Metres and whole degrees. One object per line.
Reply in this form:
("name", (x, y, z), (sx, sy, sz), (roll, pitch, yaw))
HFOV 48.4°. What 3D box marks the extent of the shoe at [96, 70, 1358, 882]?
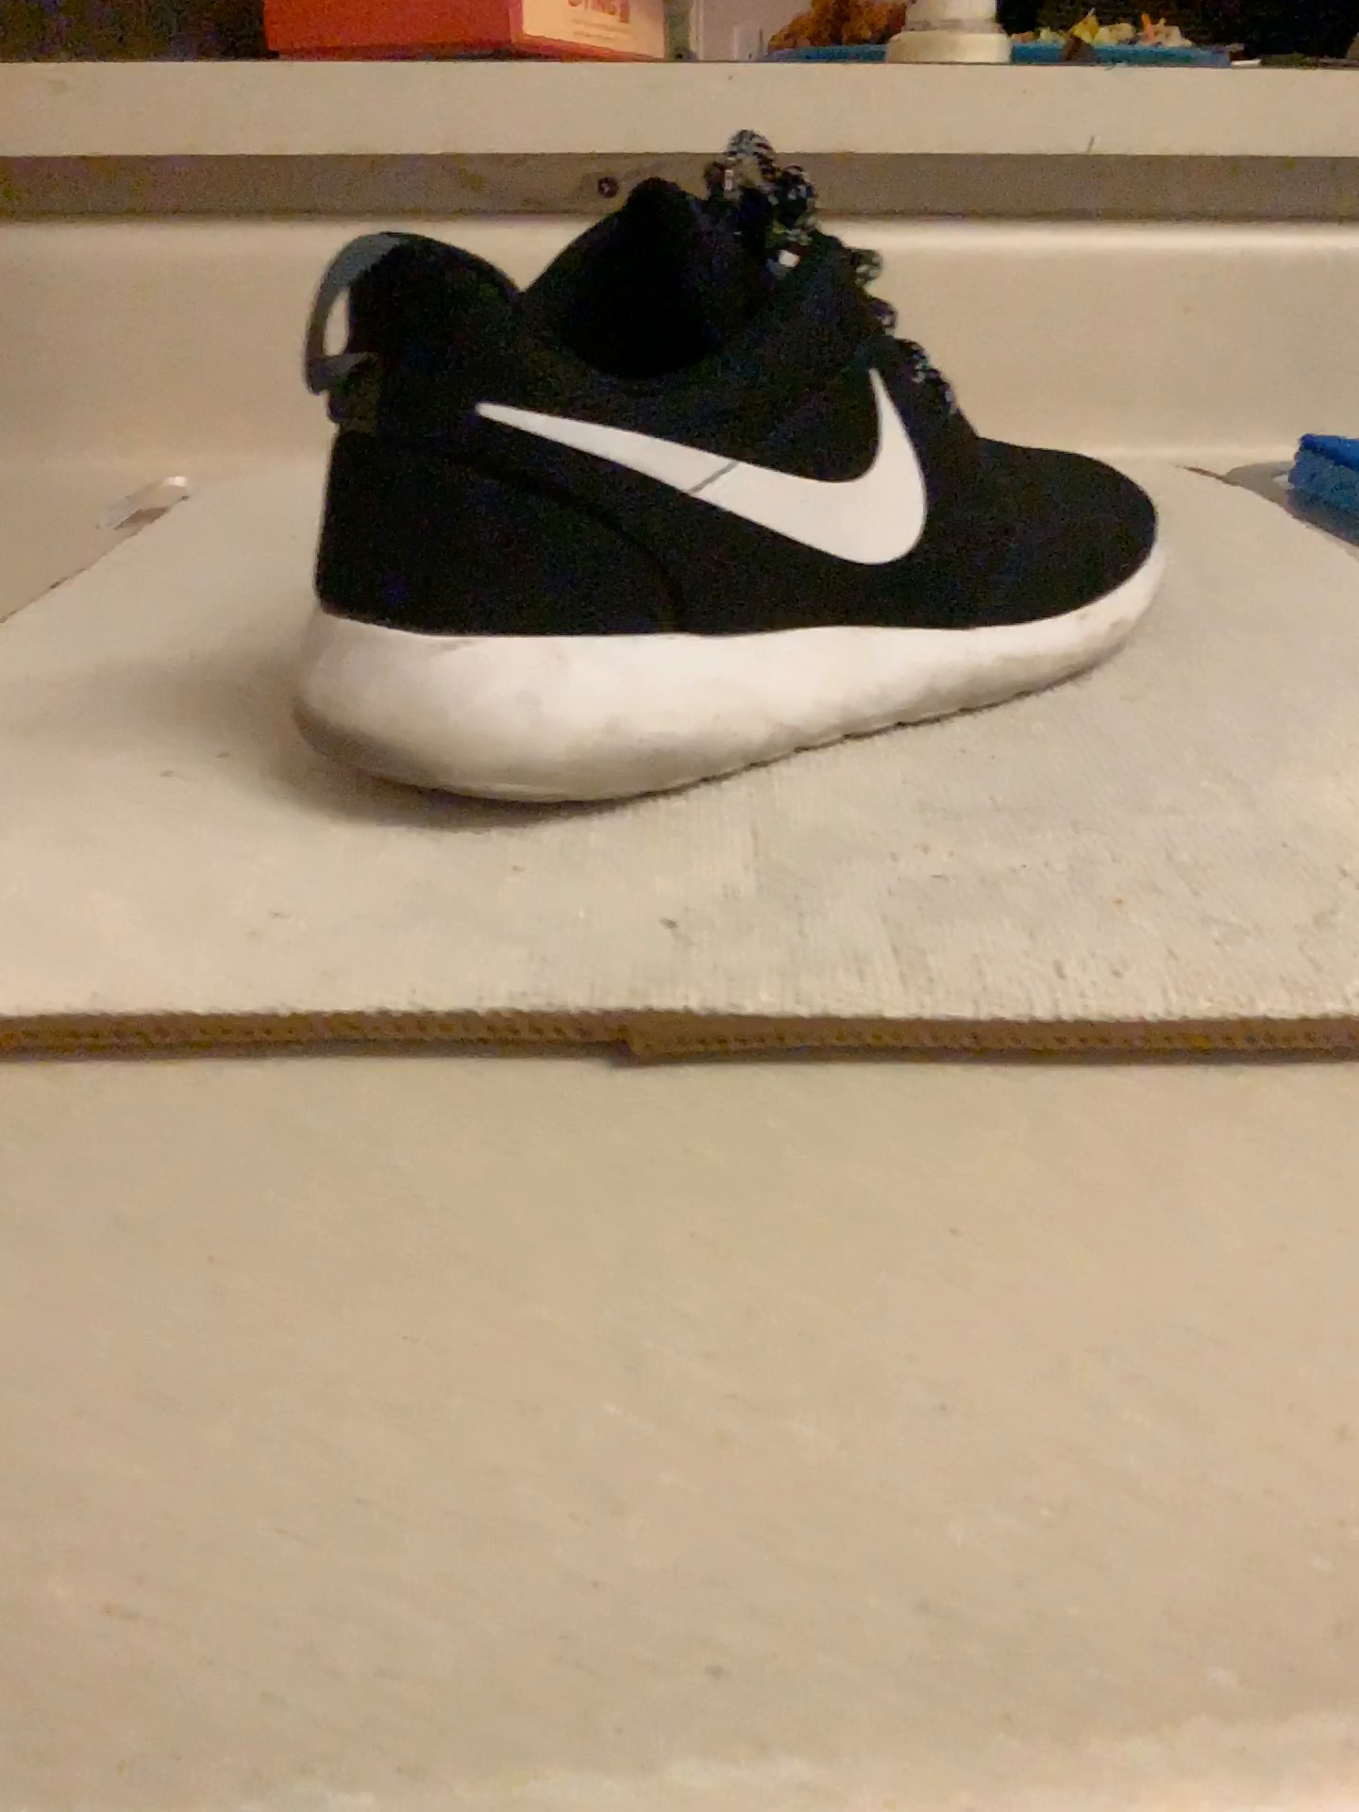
("shoe", (0.036, -0.121, 0.355), (0.280, 0.120, 0.130), (-21, 34, -37))
